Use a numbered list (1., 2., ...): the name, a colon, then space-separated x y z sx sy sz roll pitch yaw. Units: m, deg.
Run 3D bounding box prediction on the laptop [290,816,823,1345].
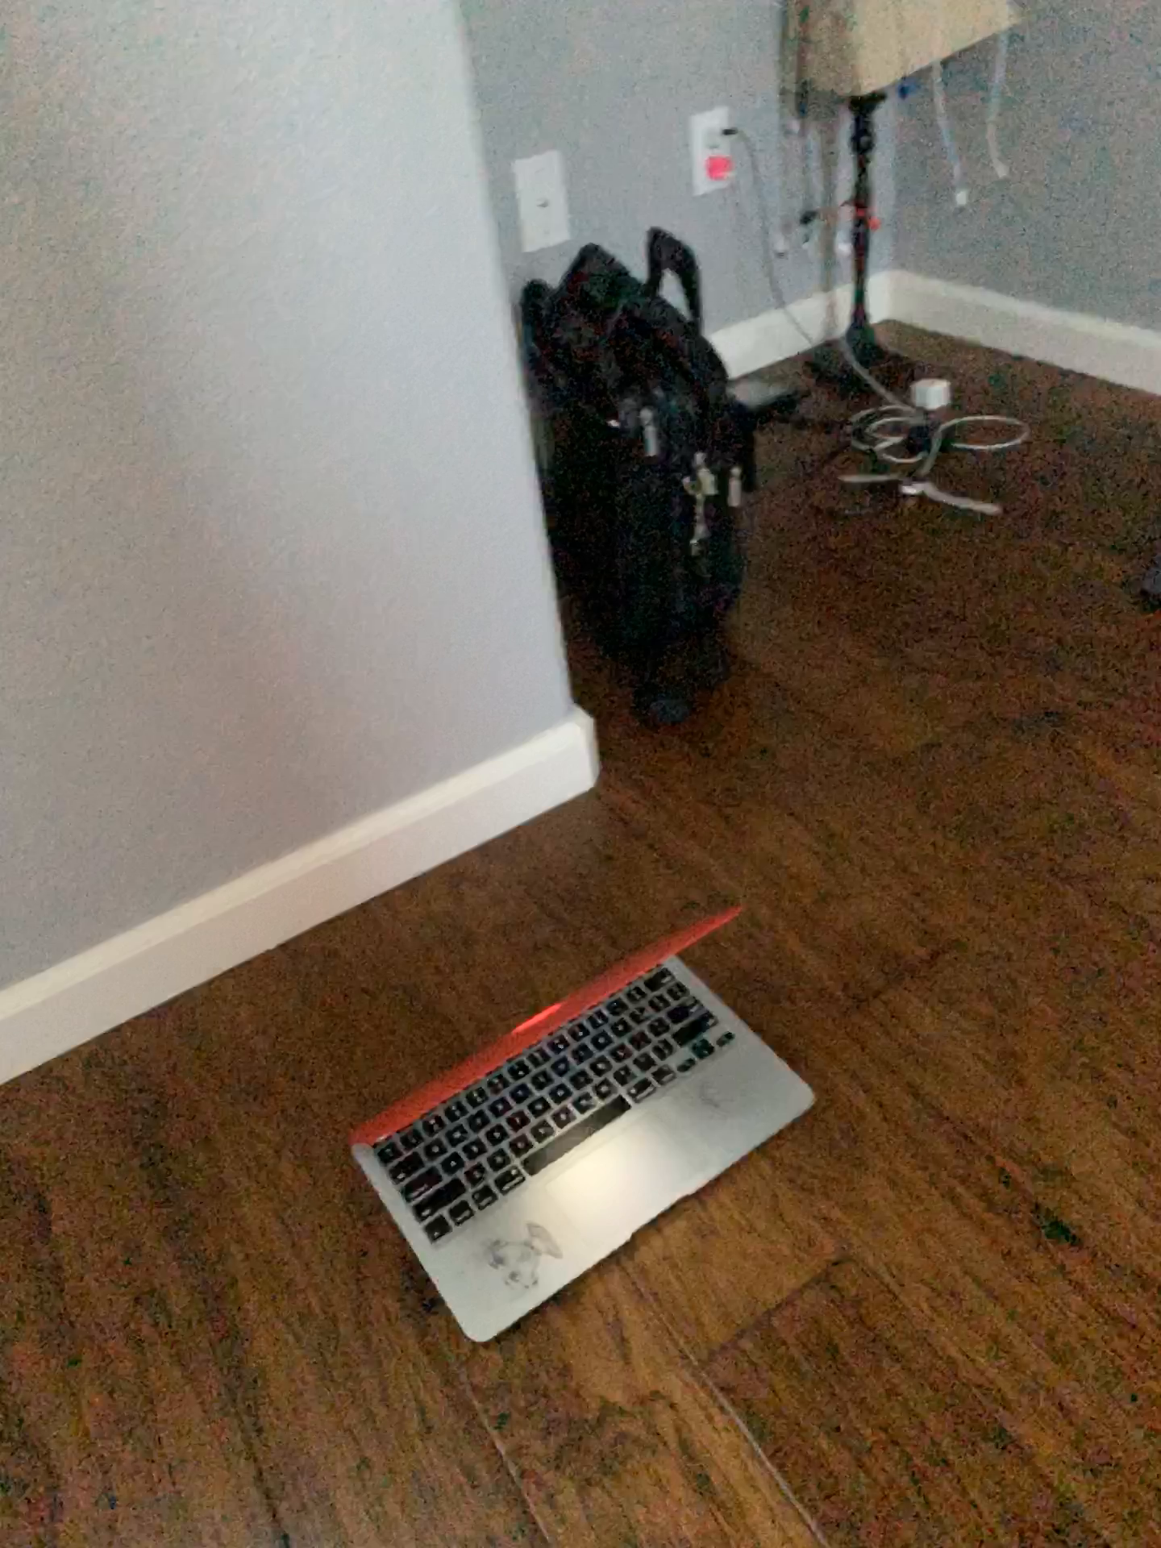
1. laptop: -0.009 0.197 0.840 0.302 0.139 0.199 -27 42 -24
